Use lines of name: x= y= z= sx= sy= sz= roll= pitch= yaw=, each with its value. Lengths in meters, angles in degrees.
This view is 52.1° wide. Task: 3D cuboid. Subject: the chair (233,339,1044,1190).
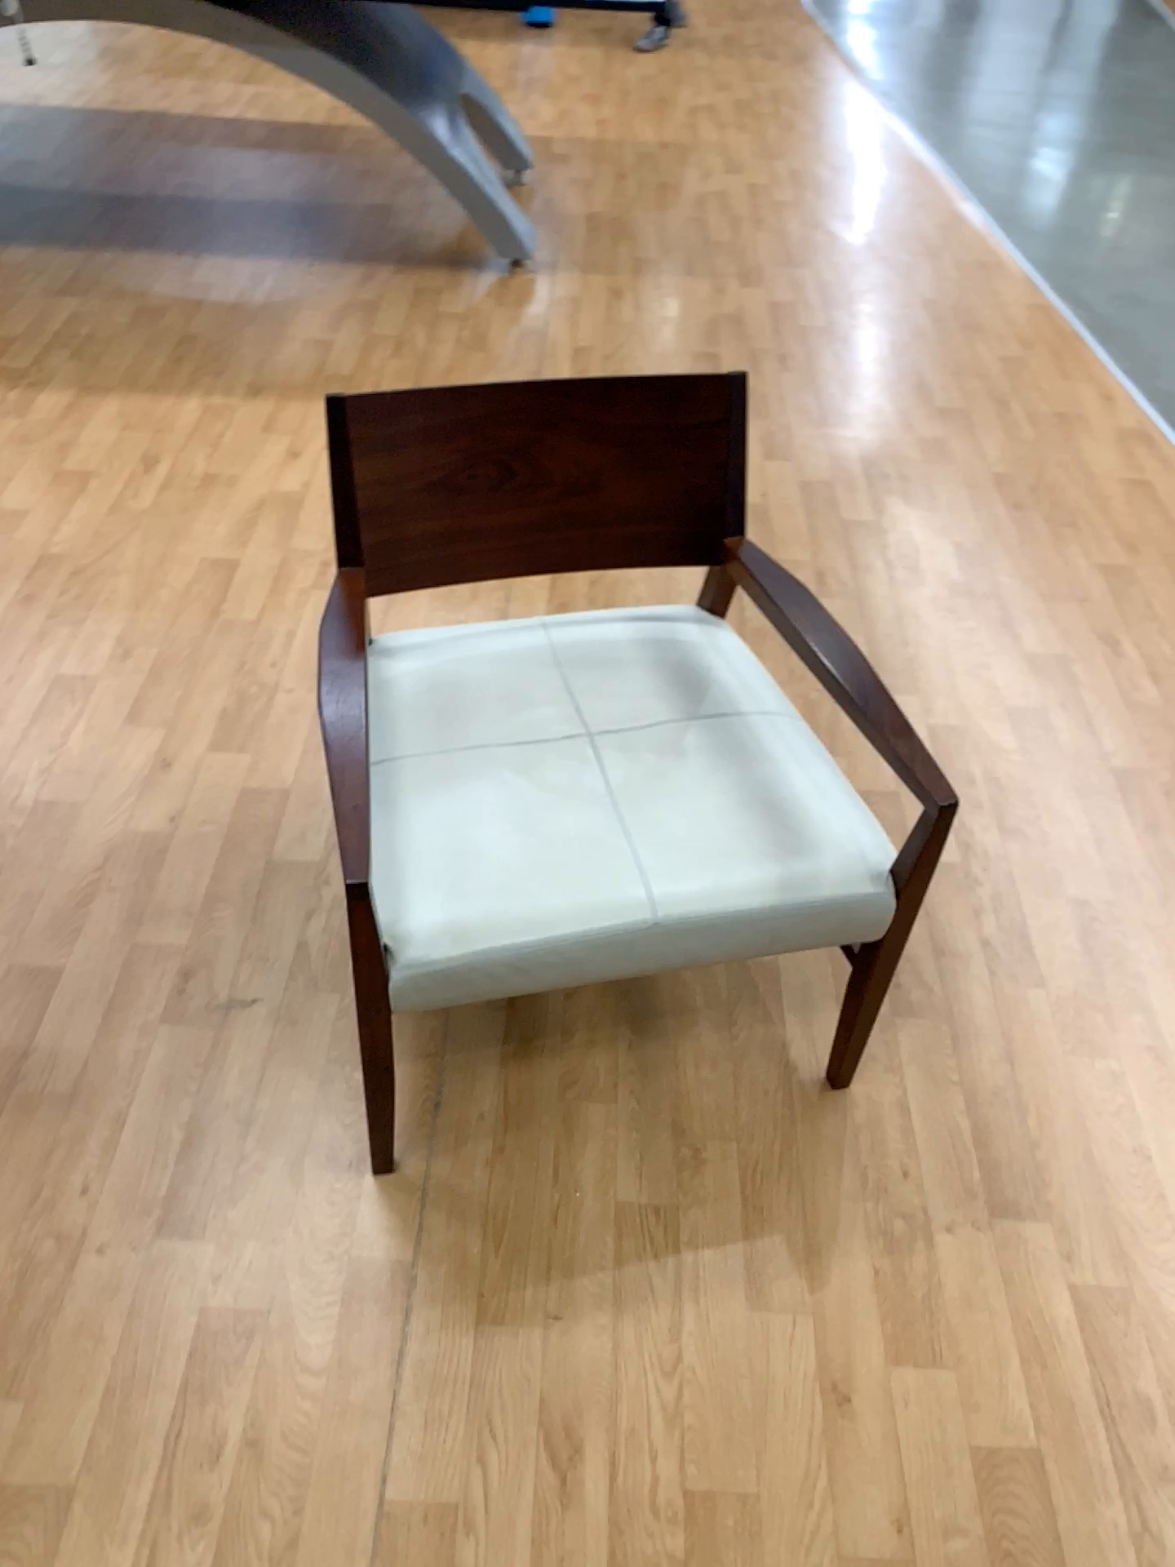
chair: x=-0.025 y=-0.058 z=1.452 sx=0.670 sy=0.635 sz=0.715 roll=-7 pitch=45 yaw=-12
